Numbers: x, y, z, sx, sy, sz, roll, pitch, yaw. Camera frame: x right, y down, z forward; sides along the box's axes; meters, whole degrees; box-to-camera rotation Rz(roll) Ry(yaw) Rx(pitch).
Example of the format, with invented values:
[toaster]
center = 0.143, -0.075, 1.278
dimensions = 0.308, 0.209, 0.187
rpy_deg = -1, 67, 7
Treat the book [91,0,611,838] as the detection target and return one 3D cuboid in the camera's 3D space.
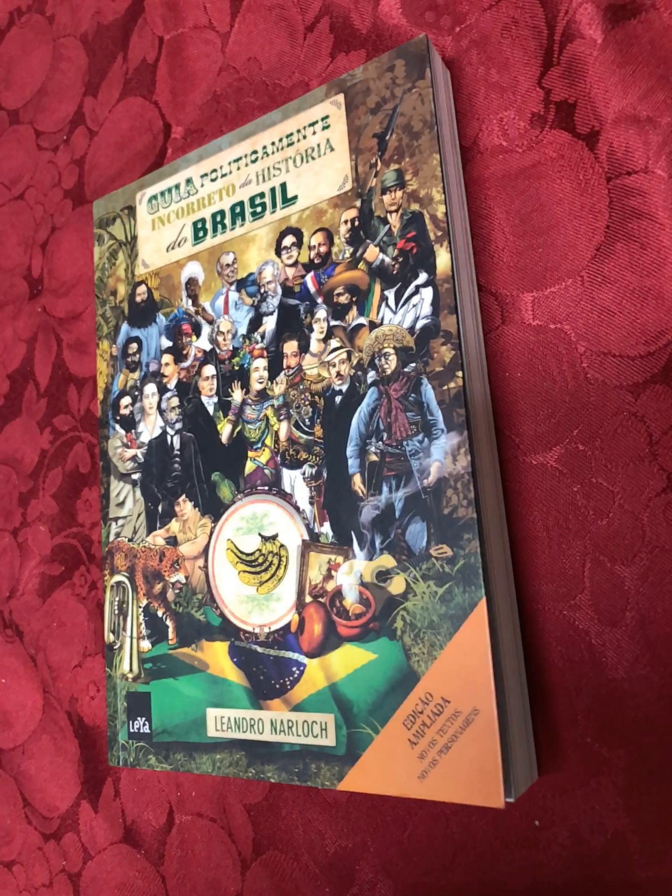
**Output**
[book]
center = -0.011, -0.005, 0.253
dimensions = 0.161, 0.030, 0.230
rpy_deg = -12, 80, 33
